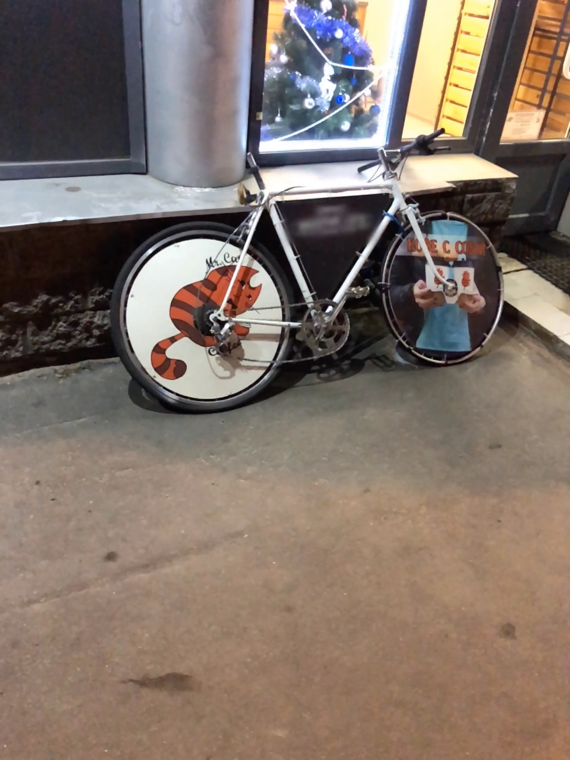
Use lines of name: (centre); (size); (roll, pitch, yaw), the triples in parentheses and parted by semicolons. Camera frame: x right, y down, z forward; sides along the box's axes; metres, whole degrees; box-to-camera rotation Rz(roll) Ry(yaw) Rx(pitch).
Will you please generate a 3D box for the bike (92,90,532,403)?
bike: (0.096, -0.615, 2.529); (1.587, 0.916, 0.572); (-12, 37, -24)
